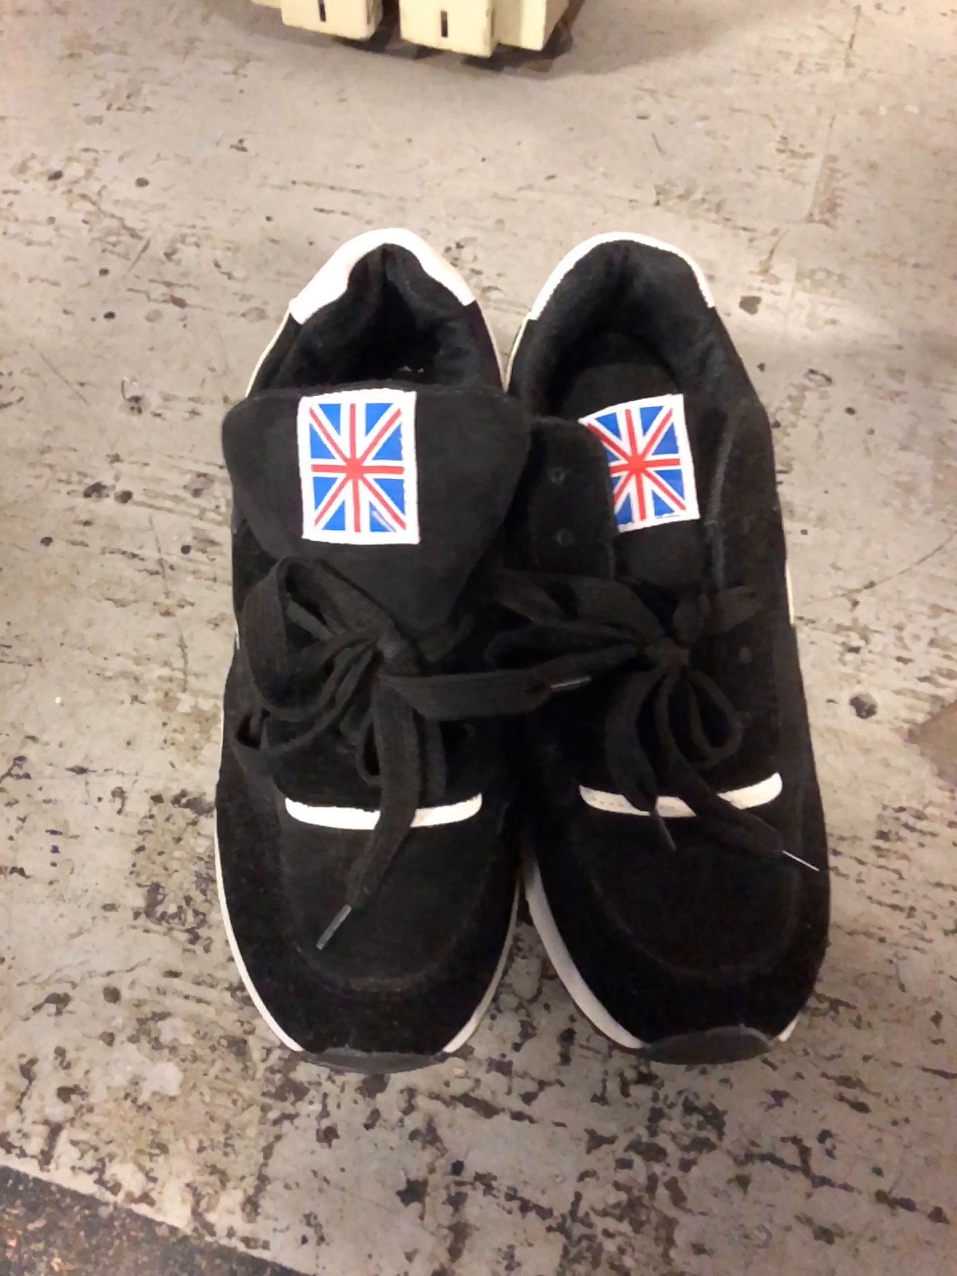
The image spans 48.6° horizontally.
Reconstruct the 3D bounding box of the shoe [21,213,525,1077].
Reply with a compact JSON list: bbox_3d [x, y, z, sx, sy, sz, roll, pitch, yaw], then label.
[{"bbox_3d":[-0.044,-0.001,0.321,0.100,0.119,0.231,-1,60,-1],"label":"shoe"}]

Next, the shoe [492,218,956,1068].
[{"bbox_3d":[0.064,-0.004,0.331,0.110,0.109,0.241,-1,60,-1],"label":"shoe"}]
